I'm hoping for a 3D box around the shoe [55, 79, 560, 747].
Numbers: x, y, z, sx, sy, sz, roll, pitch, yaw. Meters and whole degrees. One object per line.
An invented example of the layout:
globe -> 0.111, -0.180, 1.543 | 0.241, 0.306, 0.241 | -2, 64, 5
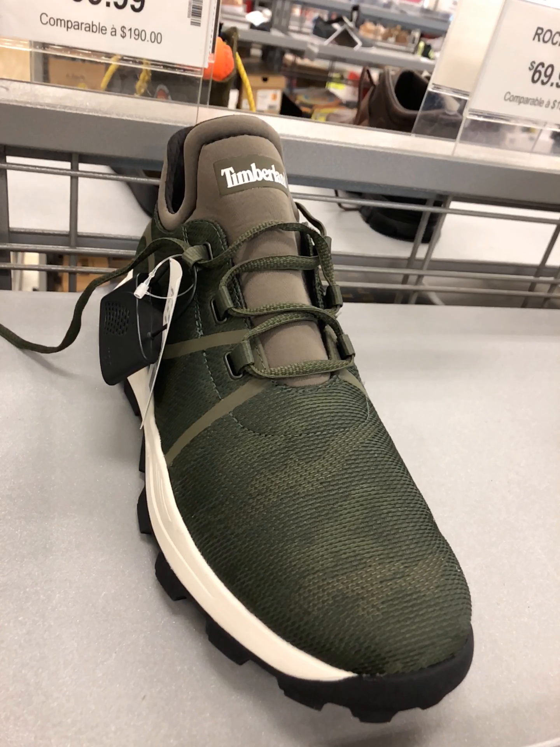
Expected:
shoe -> -0.013, -0.013, 0.290 | 0.130, 0.149, 0.312 | -5, 37, -26
